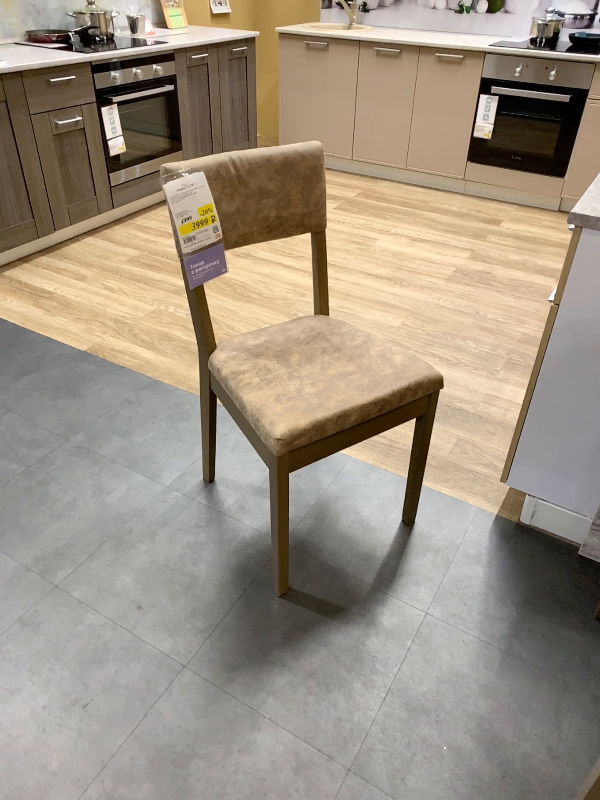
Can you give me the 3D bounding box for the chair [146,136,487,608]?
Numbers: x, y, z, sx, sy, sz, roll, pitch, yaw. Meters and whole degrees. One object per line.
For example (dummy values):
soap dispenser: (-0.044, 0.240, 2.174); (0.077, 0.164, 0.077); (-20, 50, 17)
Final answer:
chair: (0.005, -0.076, 1.496); (0.481, 0.925, 0.512); (-20, 41, -28)
